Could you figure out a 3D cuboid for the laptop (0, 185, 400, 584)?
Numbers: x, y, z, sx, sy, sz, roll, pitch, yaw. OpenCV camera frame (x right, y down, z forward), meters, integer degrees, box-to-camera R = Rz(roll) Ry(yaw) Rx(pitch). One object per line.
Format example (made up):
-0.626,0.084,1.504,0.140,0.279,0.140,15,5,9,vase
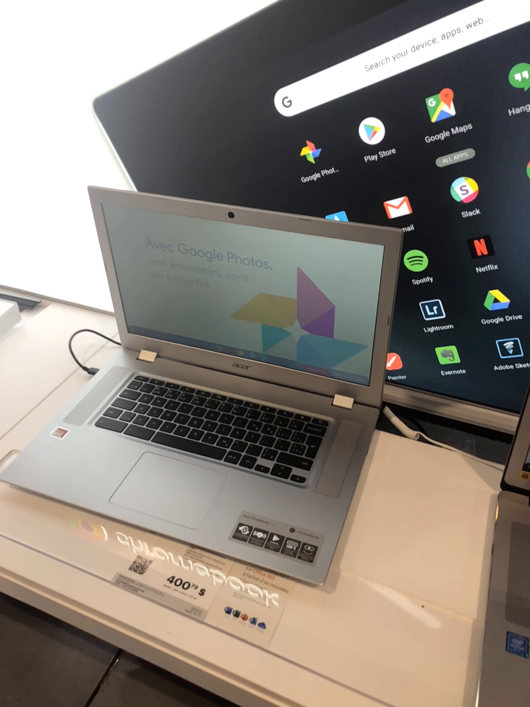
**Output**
-0.080,0.005,0.624,0.377,0.249,0.265,12,38,17,laptop
